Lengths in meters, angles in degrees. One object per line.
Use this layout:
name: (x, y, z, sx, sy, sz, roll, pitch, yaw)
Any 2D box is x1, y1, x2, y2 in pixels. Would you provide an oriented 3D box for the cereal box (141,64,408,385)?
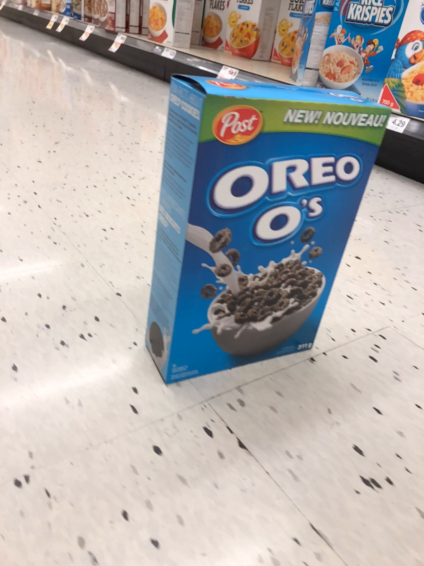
cereal box: (0.048, -0.047, 0.442, 0.200, 0.268, 0.060, -7, 33, -27)
